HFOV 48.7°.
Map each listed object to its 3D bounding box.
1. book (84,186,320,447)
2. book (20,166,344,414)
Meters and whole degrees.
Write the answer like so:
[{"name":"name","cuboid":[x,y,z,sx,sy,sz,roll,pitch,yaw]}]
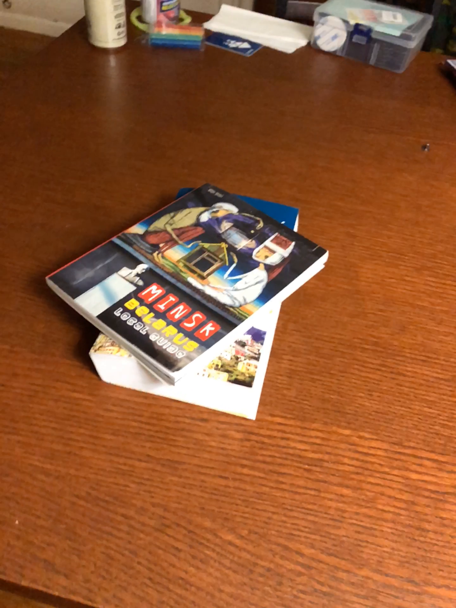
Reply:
[{"name":"book","cuboid":[-0.007,-0.007,0.417,0.130,0.040,0.221,14,48,6]},{"name":"book","cuboid":[-0.027,-0.029,0.382,0.150,0.020,0.191,34,53,23]}]
